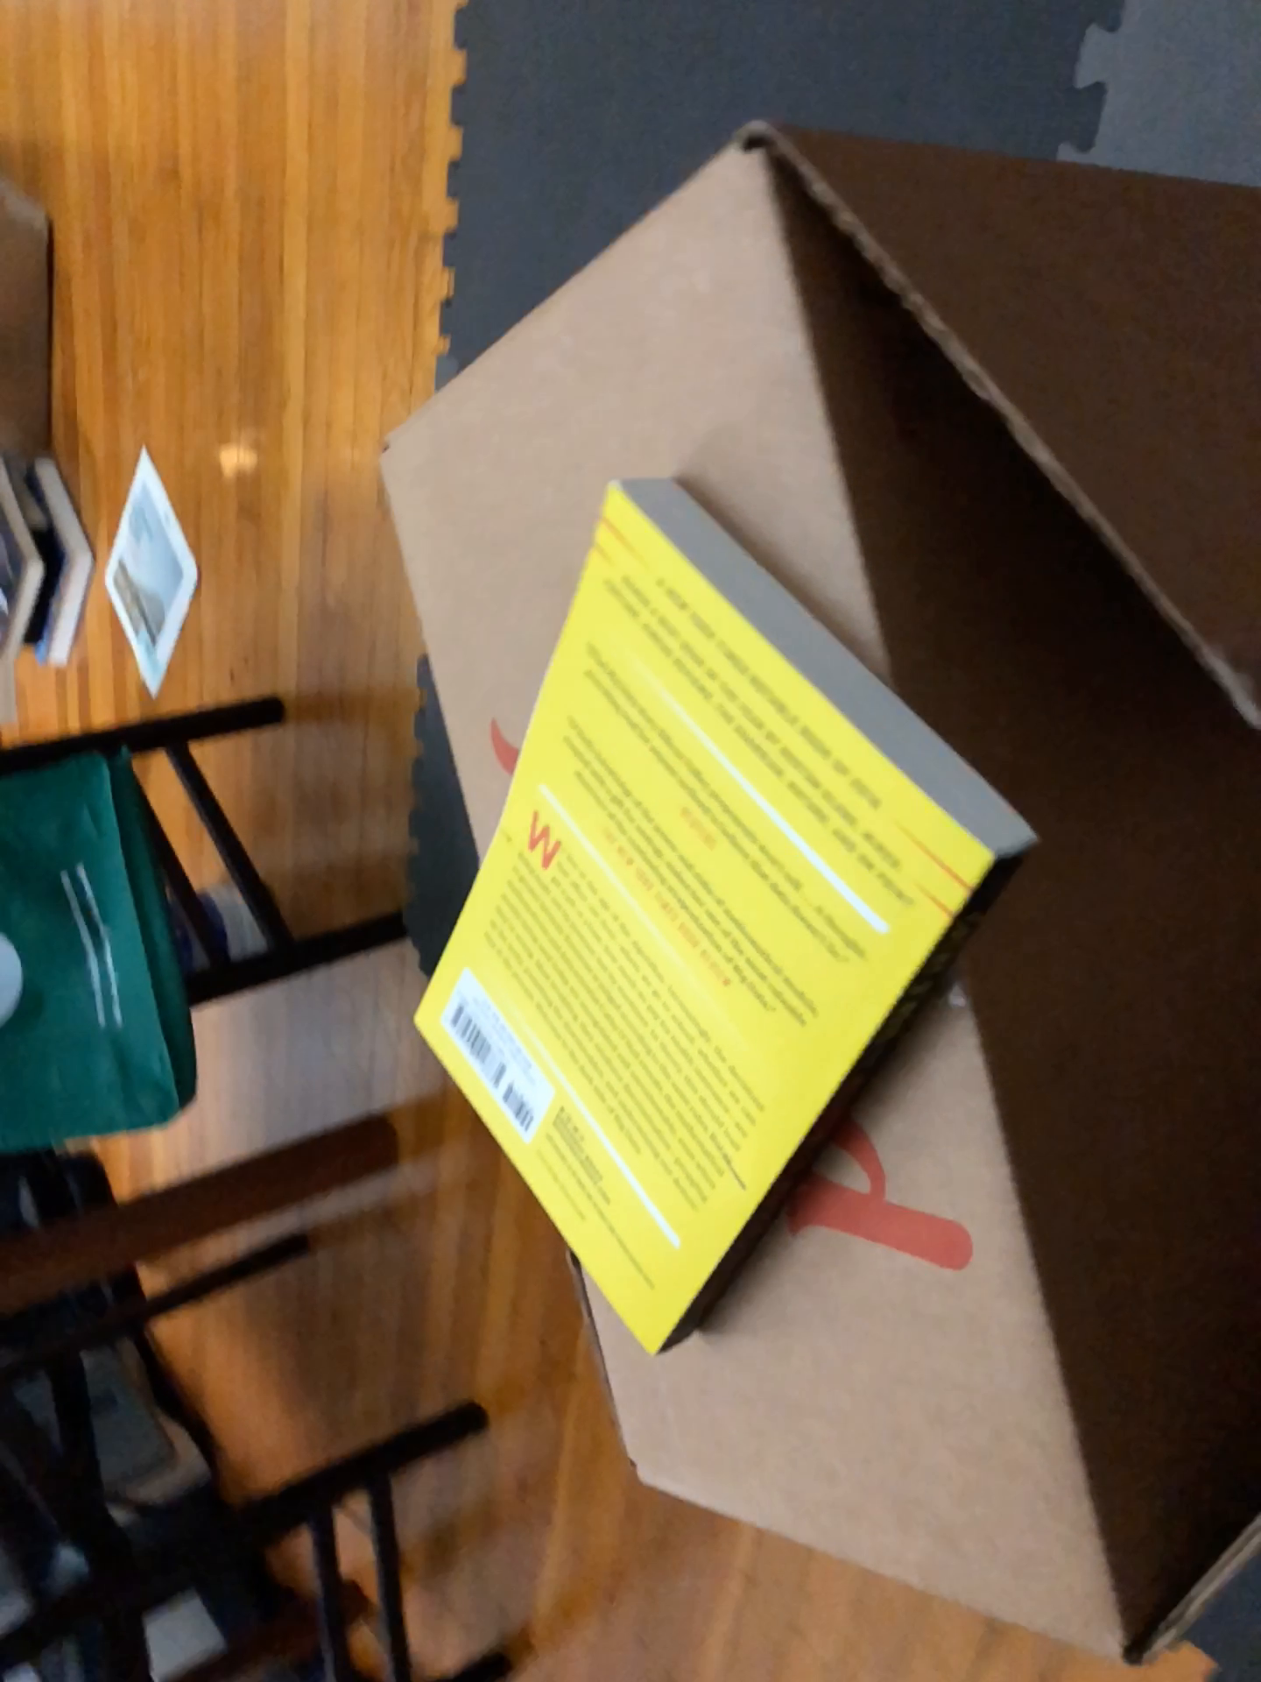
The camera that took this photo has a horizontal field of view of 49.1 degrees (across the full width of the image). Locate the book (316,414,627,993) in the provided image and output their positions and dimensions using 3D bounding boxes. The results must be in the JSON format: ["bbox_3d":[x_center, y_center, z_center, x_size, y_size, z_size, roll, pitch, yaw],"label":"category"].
[{"bbox_3d":[-0.085,-0.058,0.638,0.150,0.020,0.220,50,136,30],"label":"book"}]
